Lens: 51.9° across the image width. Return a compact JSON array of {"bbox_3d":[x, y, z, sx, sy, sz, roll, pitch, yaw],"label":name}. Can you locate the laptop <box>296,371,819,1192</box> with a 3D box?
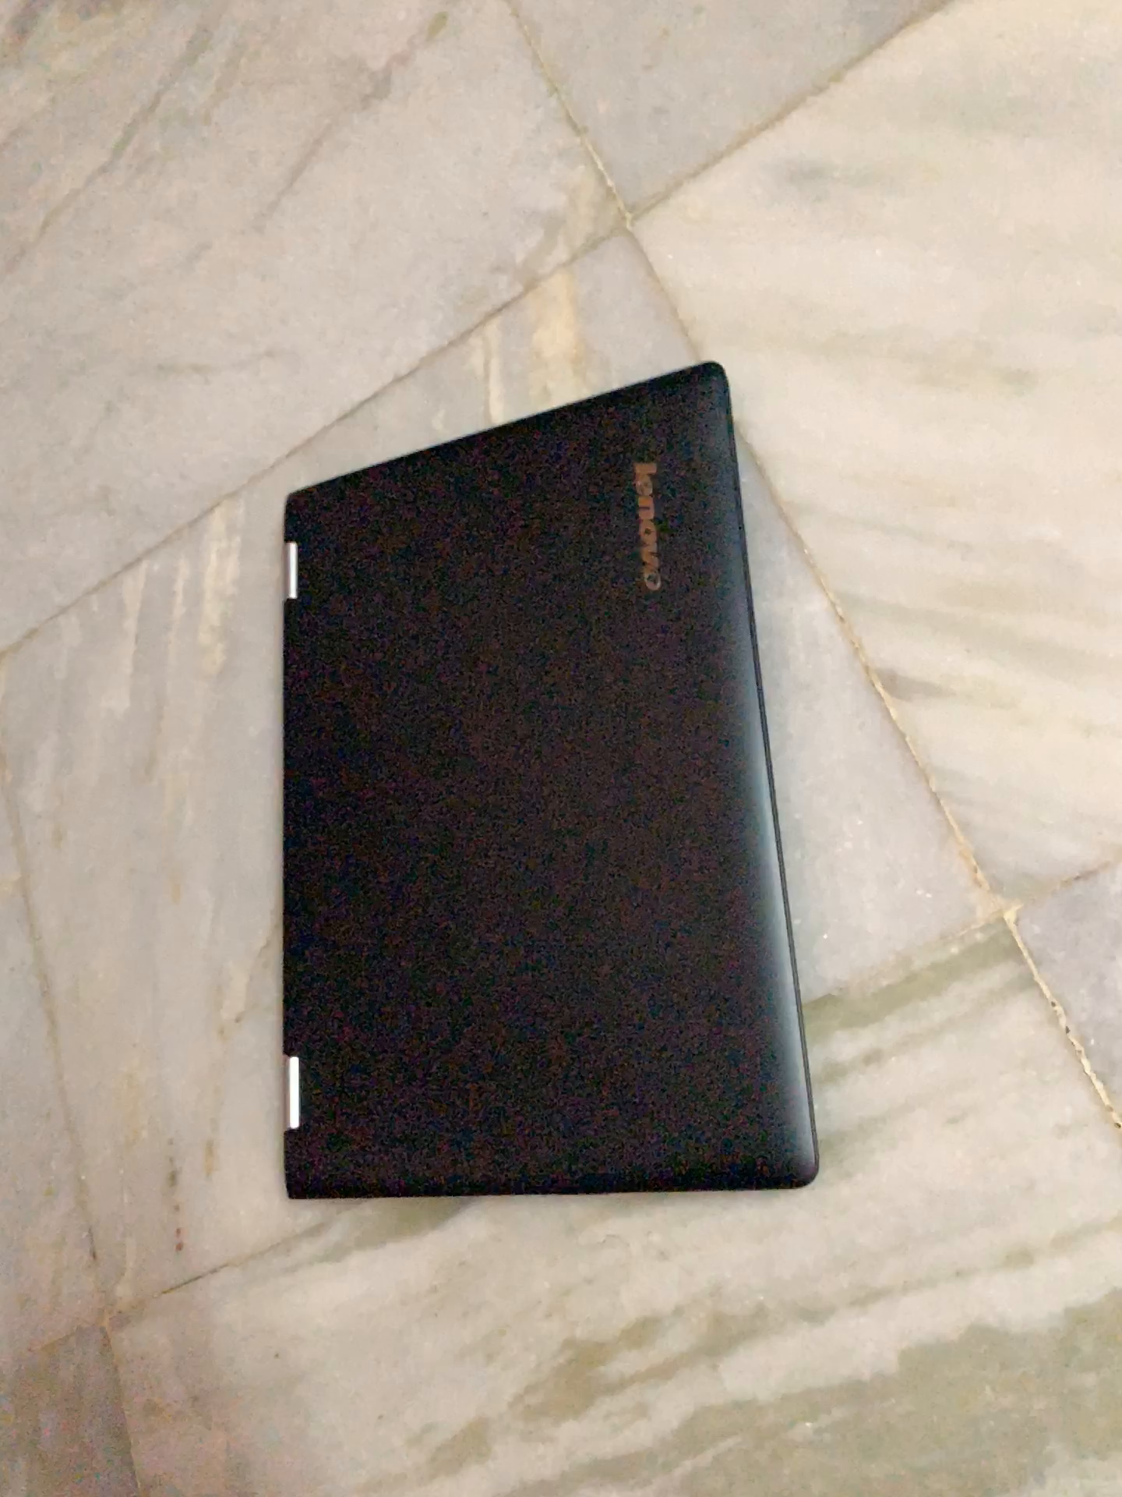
[{"bbox_3d":[-0.021,0.014,0.493,0.224,0.001,0.325,-10,73,22],"label":"laptop"}]
